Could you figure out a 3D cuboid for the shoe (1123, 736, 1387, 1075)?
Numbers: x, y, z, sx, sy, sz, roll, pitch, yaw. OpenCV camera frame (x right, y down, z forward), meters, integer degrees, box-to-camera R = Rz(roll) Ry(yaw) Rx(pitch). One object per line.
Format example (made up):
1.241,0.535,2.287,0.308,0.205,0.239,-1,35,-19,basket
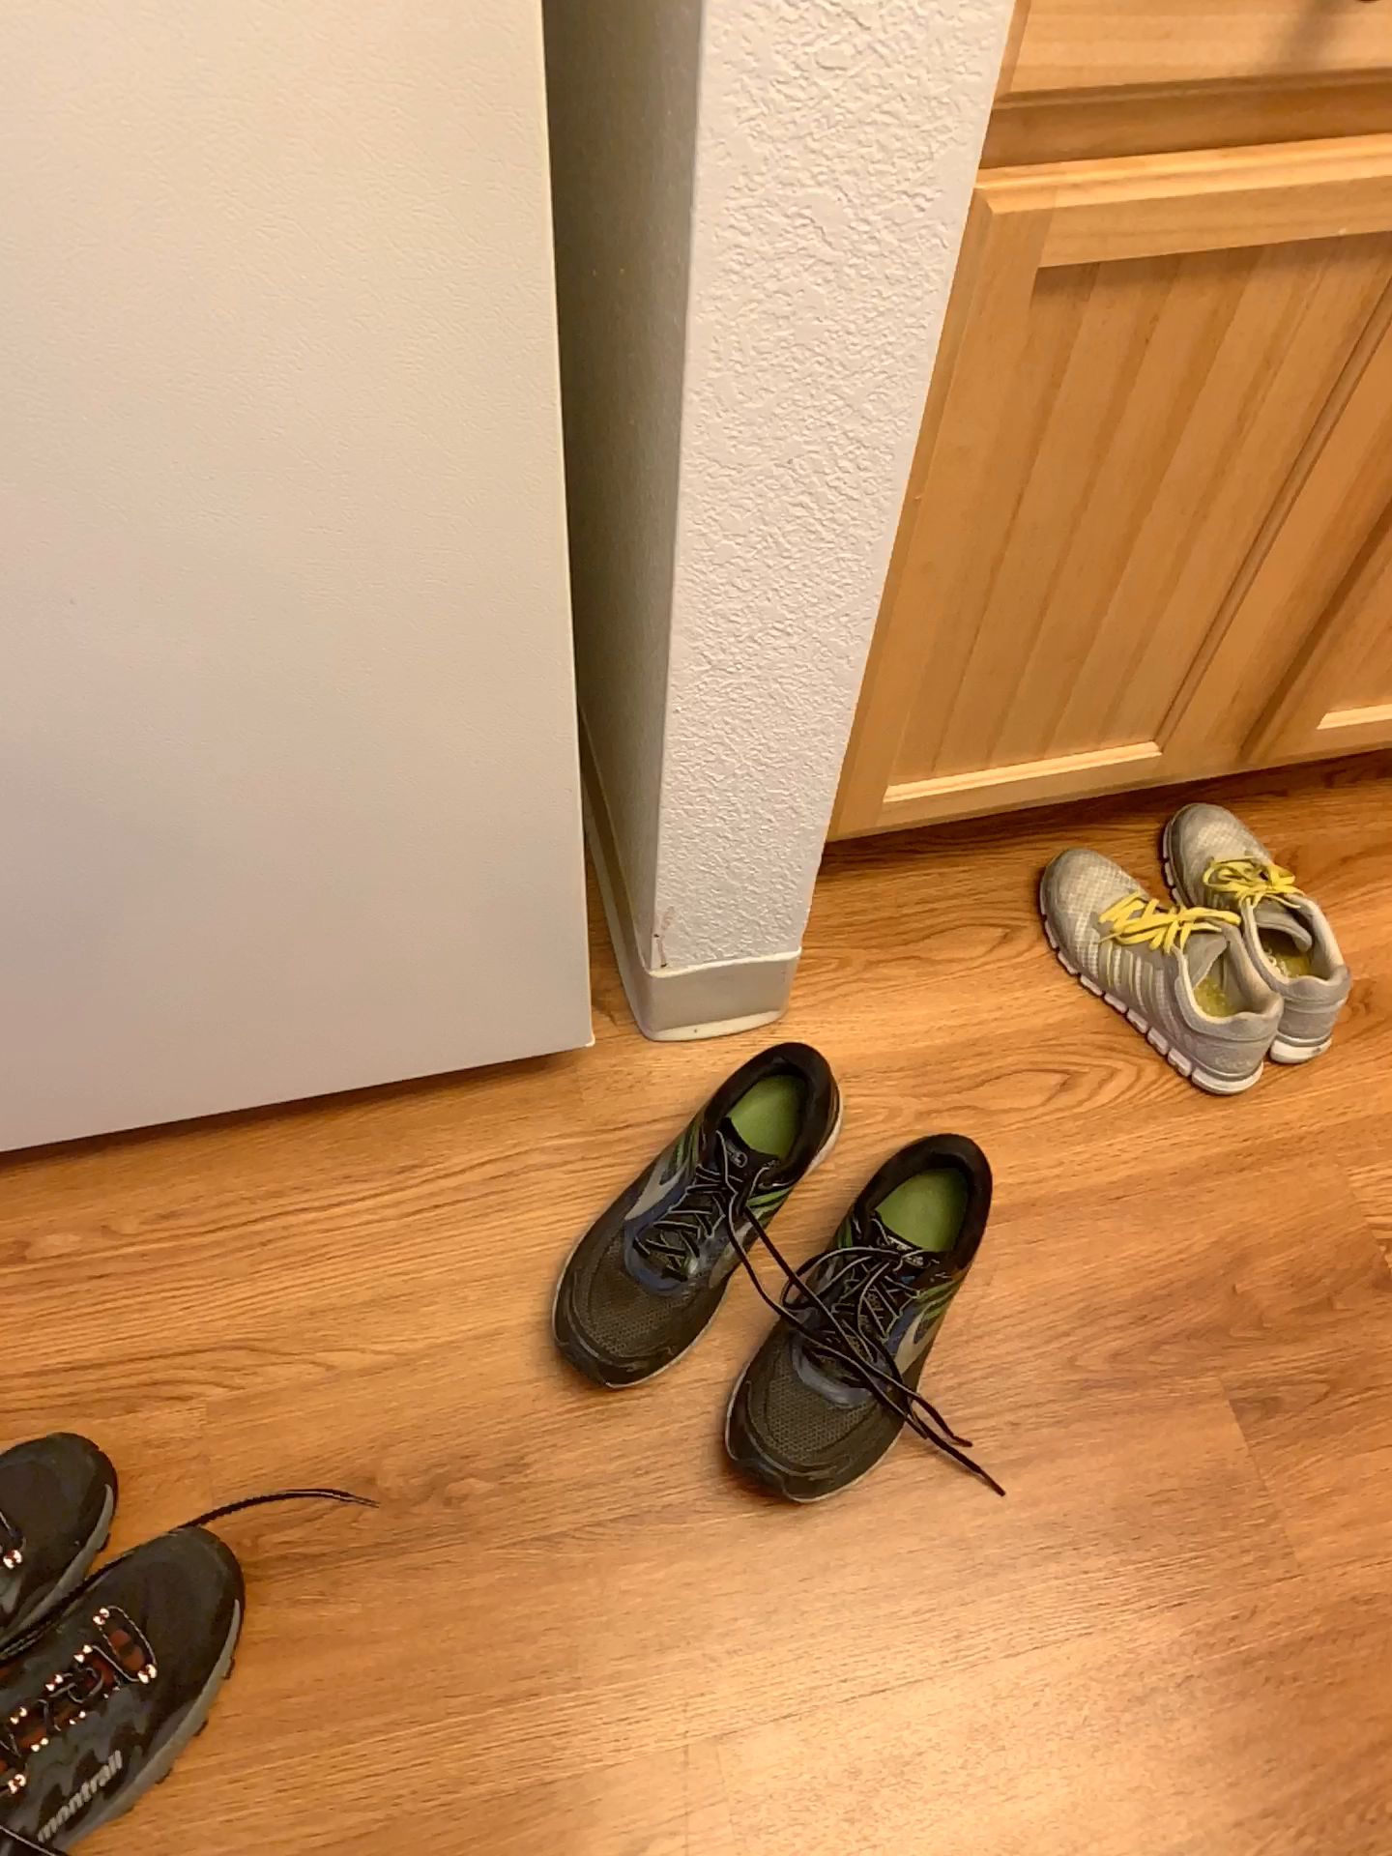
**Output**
0.486,-0.023,1.262,0.100,0.110,0.271,-11,59,-3,shoe

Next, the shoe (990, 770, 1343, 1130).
0.377,0.016,1.175,0.100,0.110,0.271,-31,65,-14,shoe

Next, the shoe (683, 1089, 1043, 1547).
0.117,0.272,1.004,0.110,0.140,0.271,32,61,15,shoe

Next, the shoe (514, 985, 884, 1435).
0.004,0.197,1.011,0.100,0.140,0.281,34,62,16,shoe
